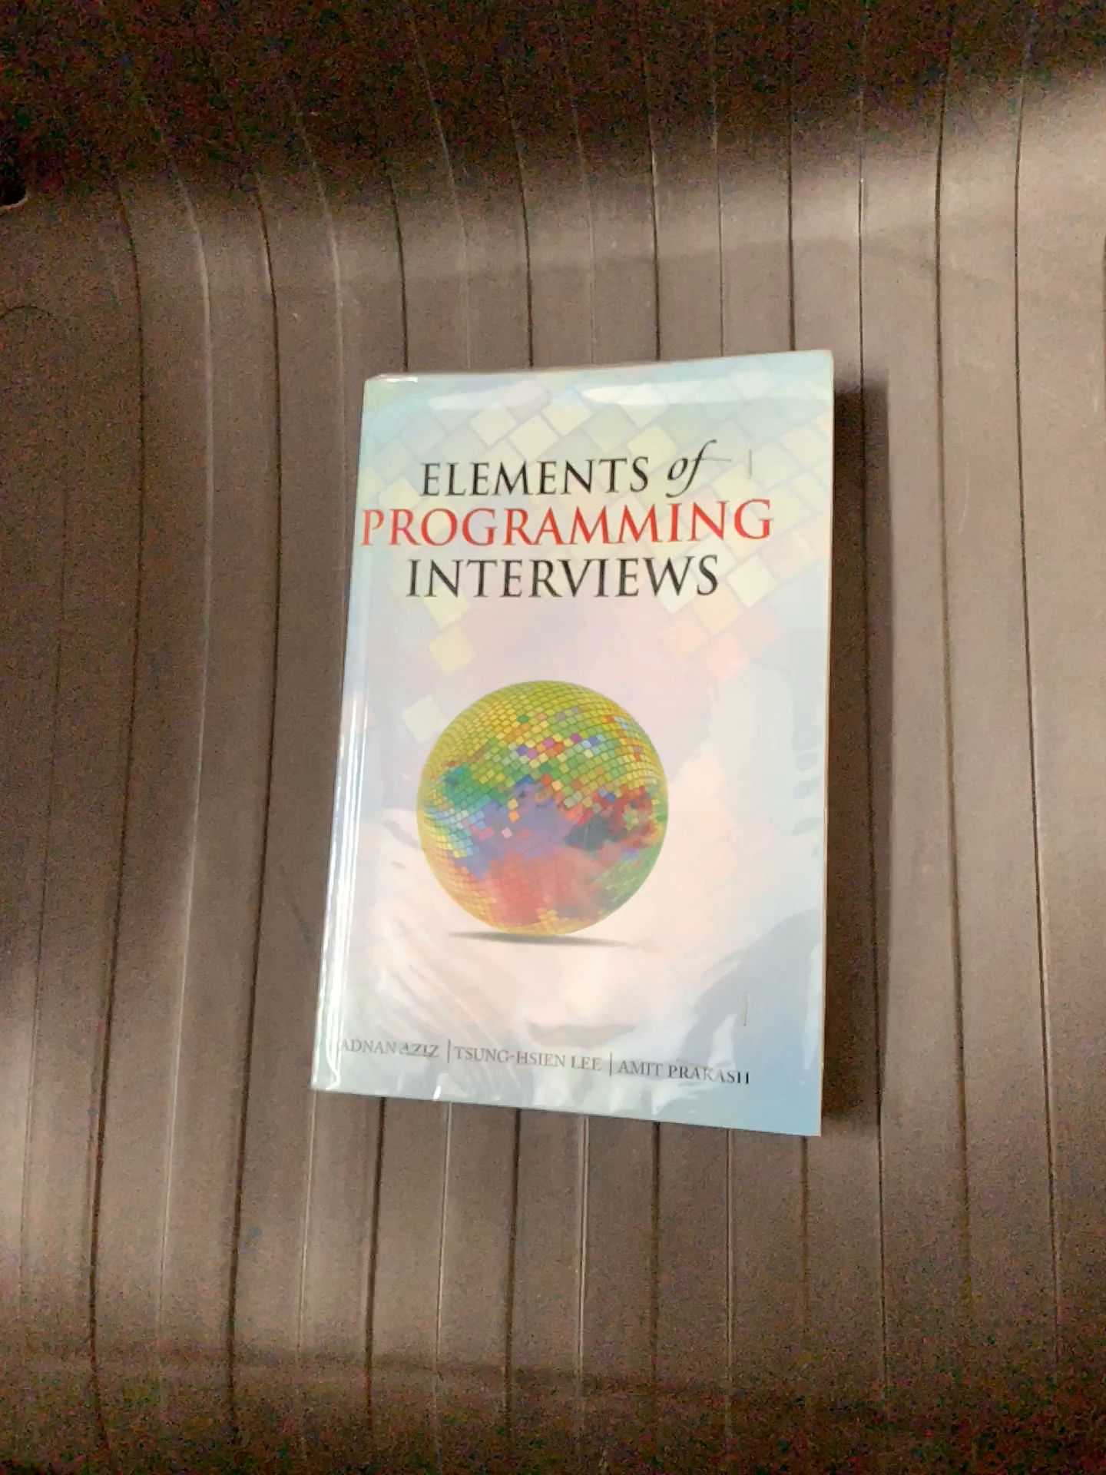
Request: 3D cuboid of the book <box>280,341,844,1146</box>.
[{"bbox_3d":[0.007,-0.002,0.366,0.160,0.050,0.230,1,82,12],"label":"book"}]
